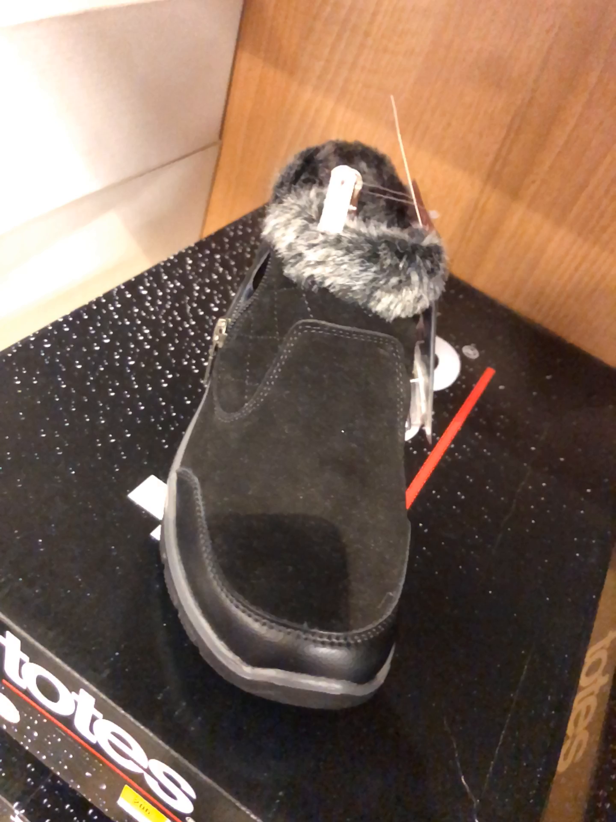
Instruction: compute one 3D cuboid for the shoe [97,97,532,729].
[{"bbox_3d":[-0.007,-0.017,0.299,0.105,0.112,0.250,12,44,-12],"label":"shoe"}]
